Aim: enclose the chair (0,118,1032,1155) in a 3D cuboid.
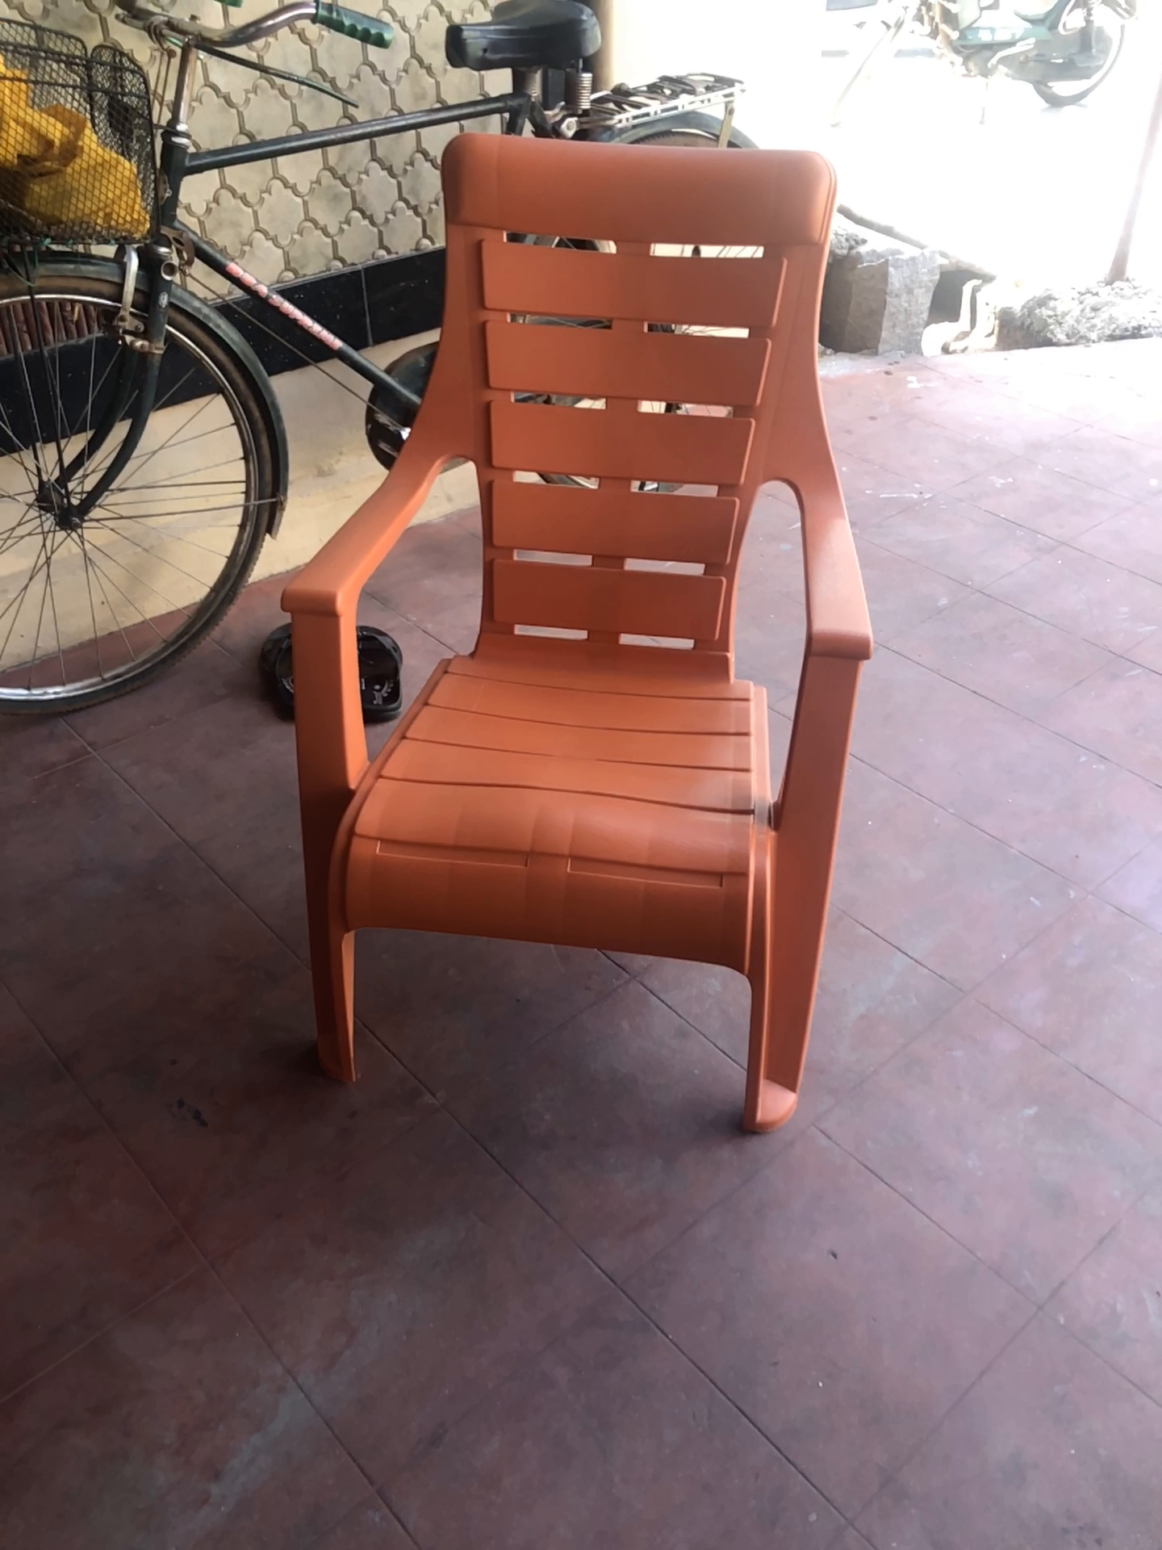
[{"bbox_3d":[-0.008,-0.187,1.378,0.690,0.786,0.764,4,38,6],"label":"chair"}]
